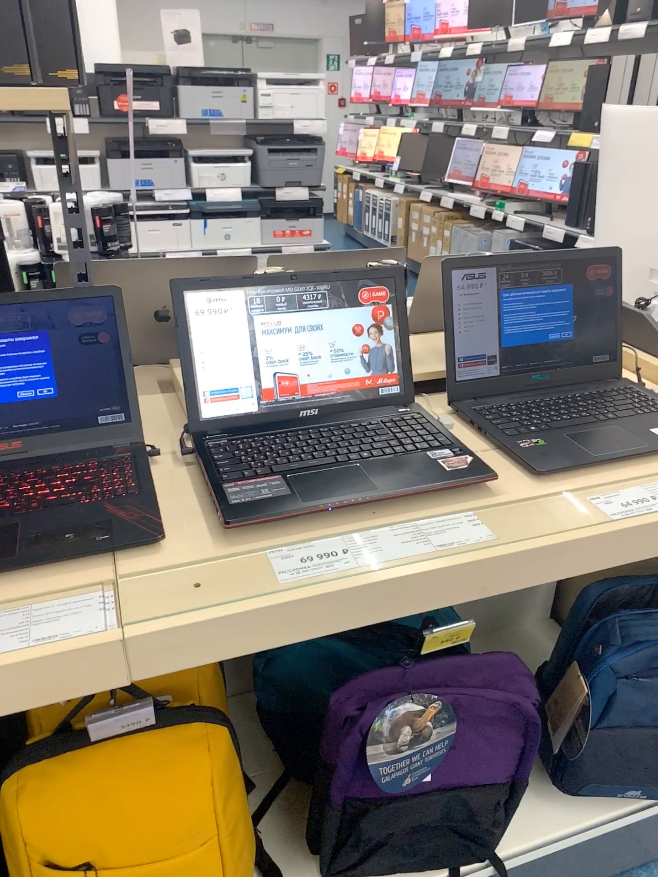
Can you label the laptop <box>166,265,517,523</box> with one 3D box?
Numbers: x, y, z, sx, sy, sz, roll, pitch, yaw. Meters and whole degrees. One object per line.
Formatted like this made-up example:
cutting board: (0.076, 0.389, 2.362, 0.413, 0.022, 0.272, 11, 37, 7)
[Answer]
laptop: (-0.004, -0.087, 0.897, 0.355, 0.197, 0.313, -8, 28, -19)
